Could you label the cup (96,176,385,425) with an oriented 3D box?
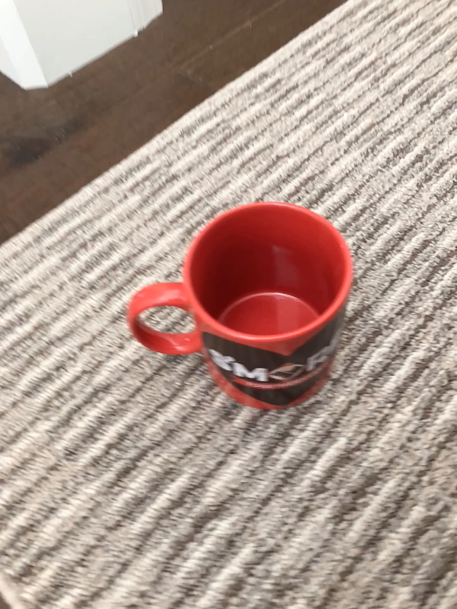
[{"bbox_3d":[0.008,0.003,0.342,0.150,0.119,0.111,-4,57,3],"label":"cup"}]
